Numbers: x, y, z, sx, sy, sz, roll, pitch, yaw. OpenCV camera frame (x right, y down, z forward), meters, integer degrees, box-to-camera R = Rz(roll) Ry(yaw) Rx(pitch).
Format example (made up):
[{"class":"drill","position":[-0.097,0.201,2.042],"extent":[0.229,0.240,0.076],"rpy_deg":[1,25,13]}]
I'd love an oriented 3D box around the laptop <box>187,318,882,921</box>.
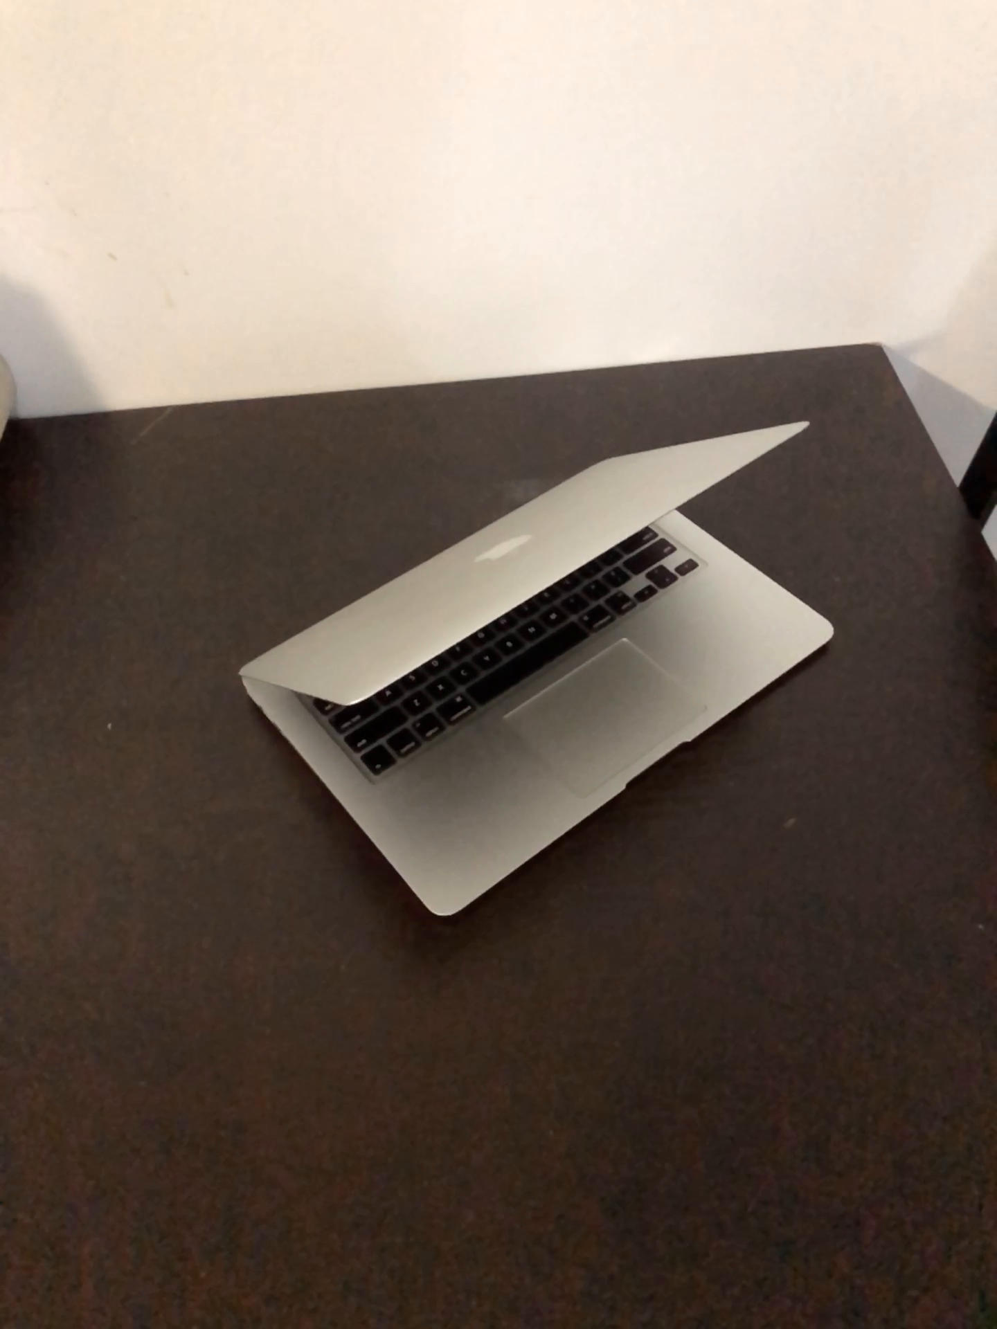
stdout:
[{"class":"laptop","position":[0.024,-0.049,0.674],"extent":[0.331,0.131,0.226],"rpy_deg":[-32,53,-23]}]
